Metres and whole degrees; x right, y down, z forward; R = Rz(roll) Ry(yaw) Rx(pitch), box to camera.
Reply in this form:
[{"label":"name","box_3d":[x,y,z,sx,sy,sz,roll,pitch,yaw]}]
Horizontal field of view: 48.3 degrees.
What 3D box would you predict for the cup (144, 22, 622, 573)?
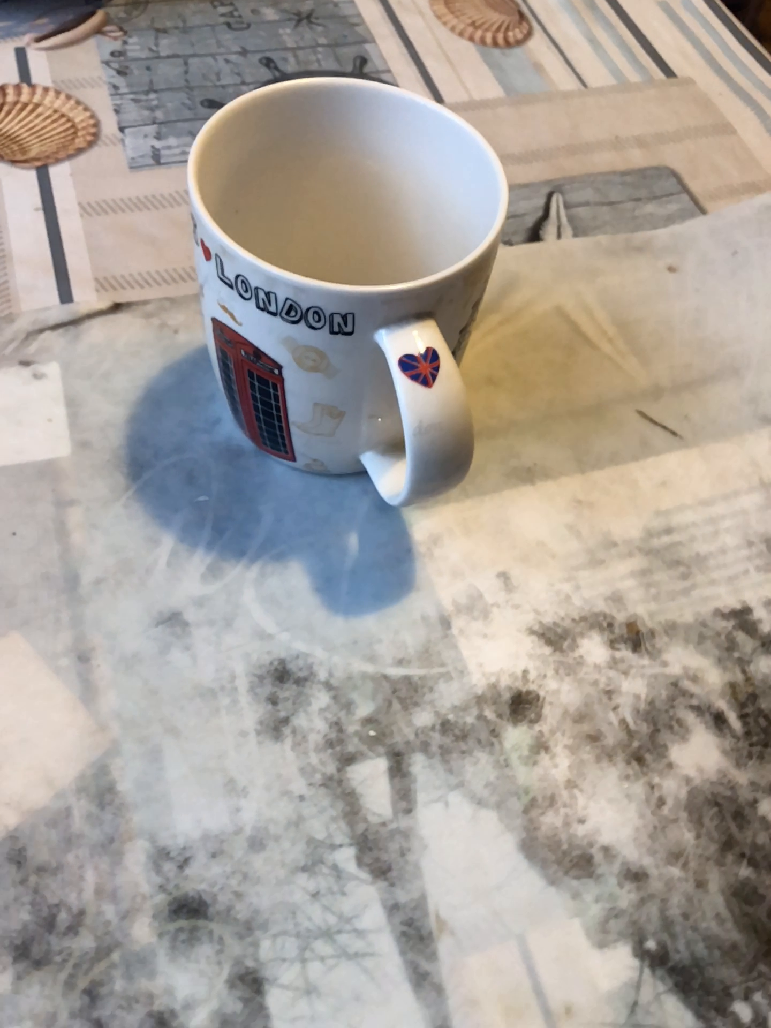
[{"label":"cup","box_3d":[-0.008,-0.066,0.260,0.084,0.086,0.121,-18,62,-14]}]
